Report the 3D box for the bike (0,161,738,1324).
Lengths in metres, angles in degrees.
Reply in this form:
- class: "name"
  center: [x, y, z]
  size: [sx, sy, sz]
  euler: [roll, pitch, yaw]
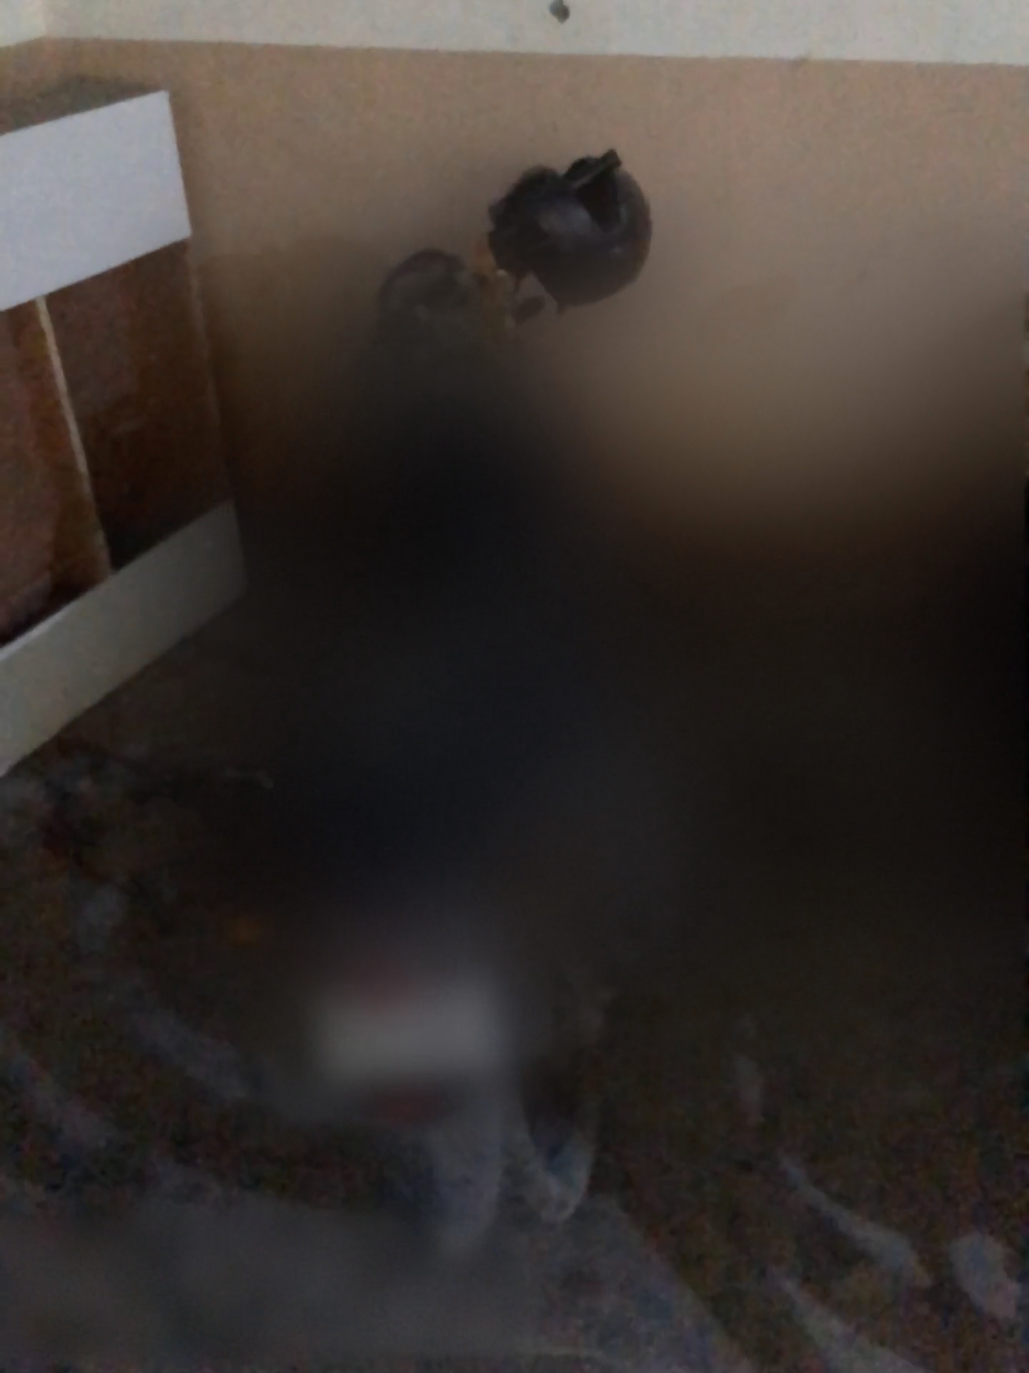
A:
- class: "bike"
  center: [-0.153, -0.076, 1.960]
  size: [0.717, 1.179, 1.712]
  euler: [2, 37, 2]
